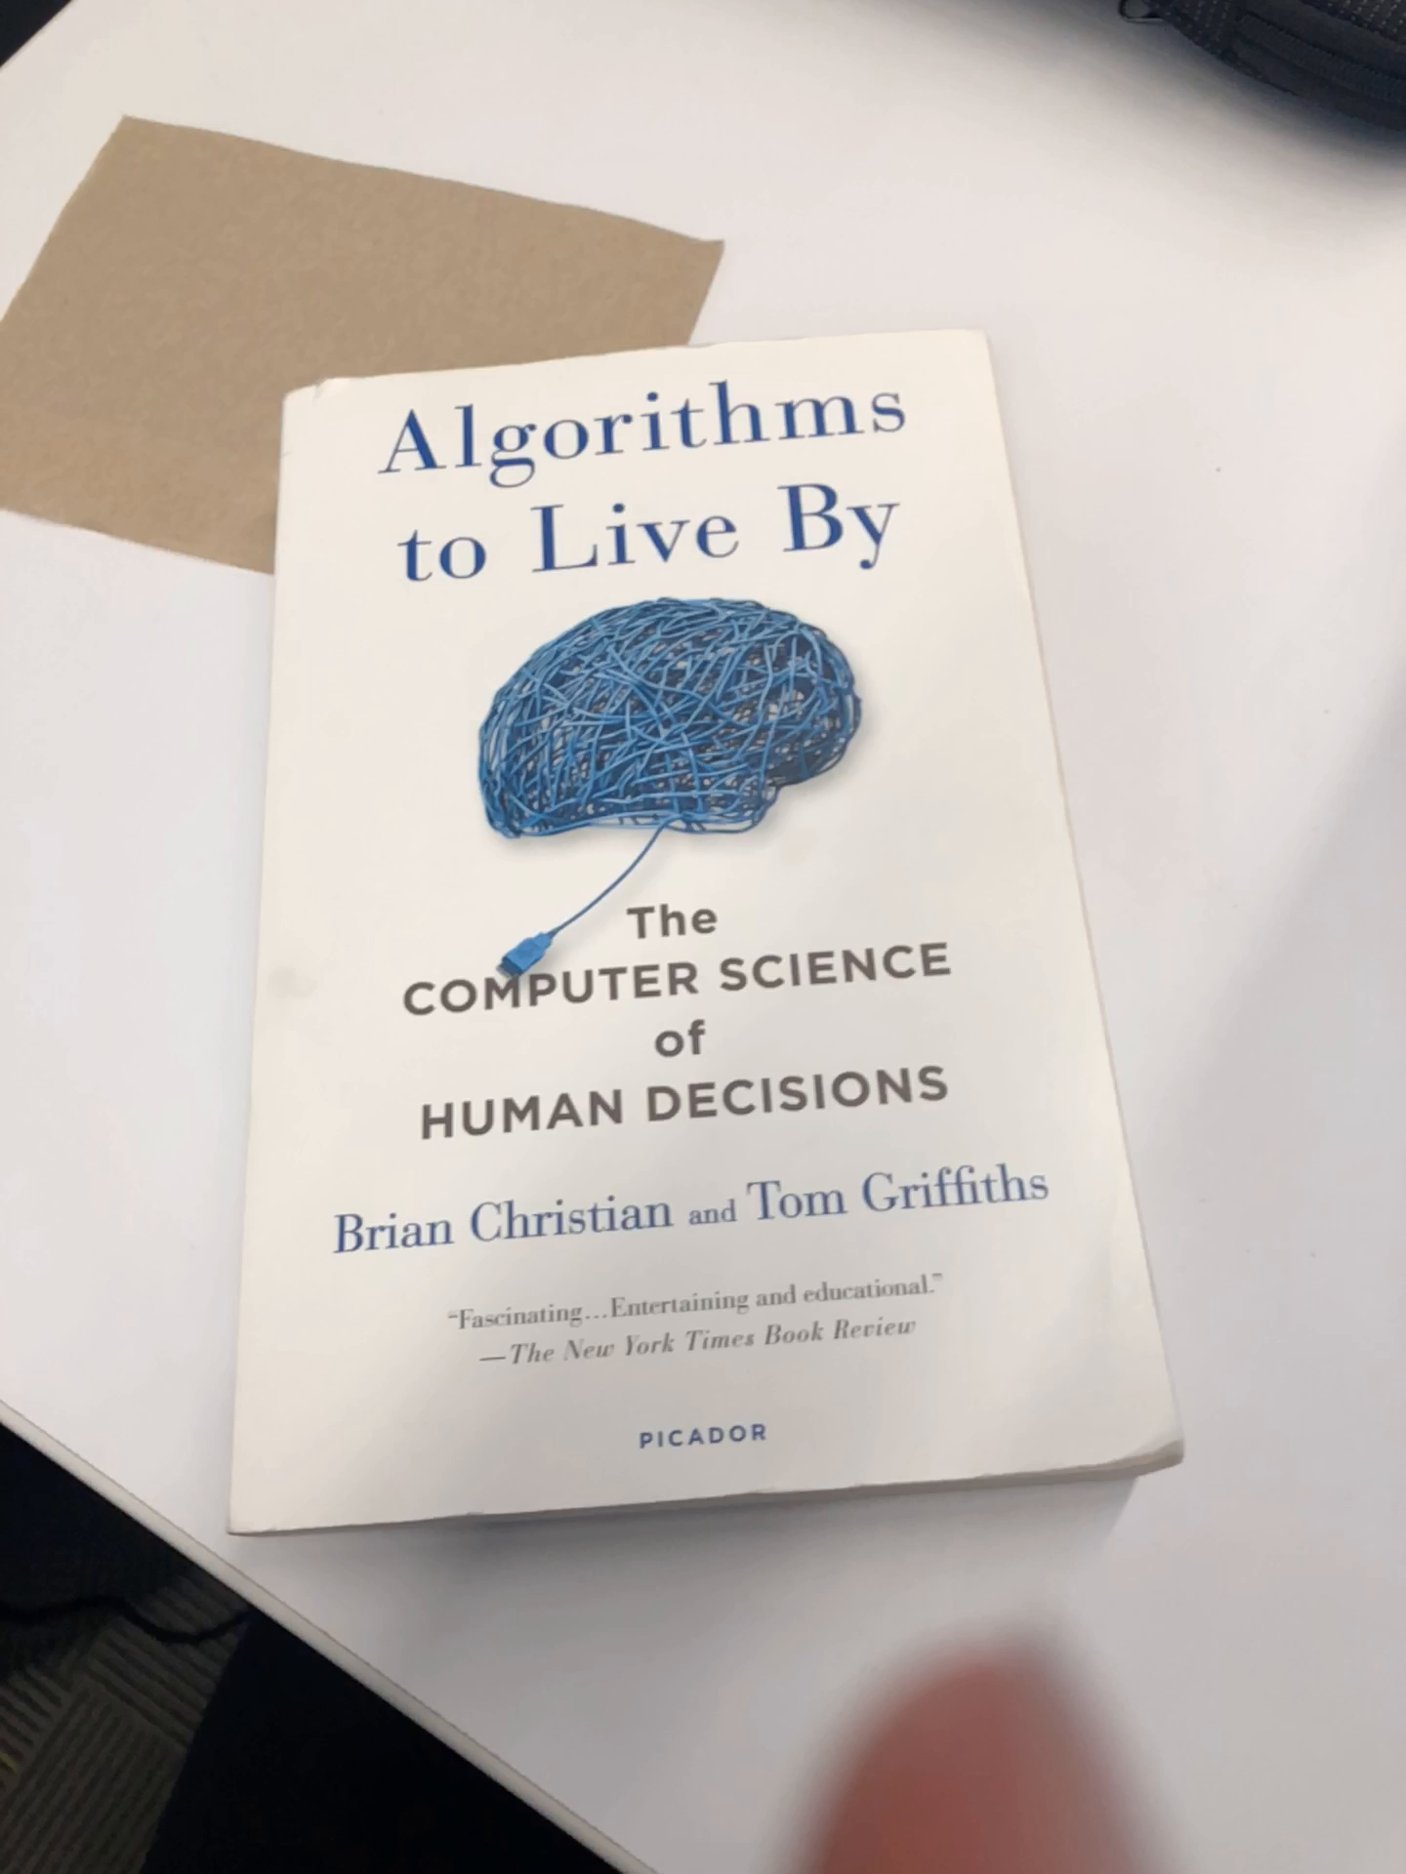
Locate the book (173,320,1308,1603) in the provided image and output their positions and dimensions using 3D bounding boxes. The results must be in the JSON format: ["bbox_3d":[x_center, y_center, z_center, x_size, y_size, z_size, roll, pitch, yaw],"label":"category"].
[{"bbox_3d":[-0.002,-0.005,0.284,0.160,0.040,0.220,-5,67,1],"label":"book"}]
